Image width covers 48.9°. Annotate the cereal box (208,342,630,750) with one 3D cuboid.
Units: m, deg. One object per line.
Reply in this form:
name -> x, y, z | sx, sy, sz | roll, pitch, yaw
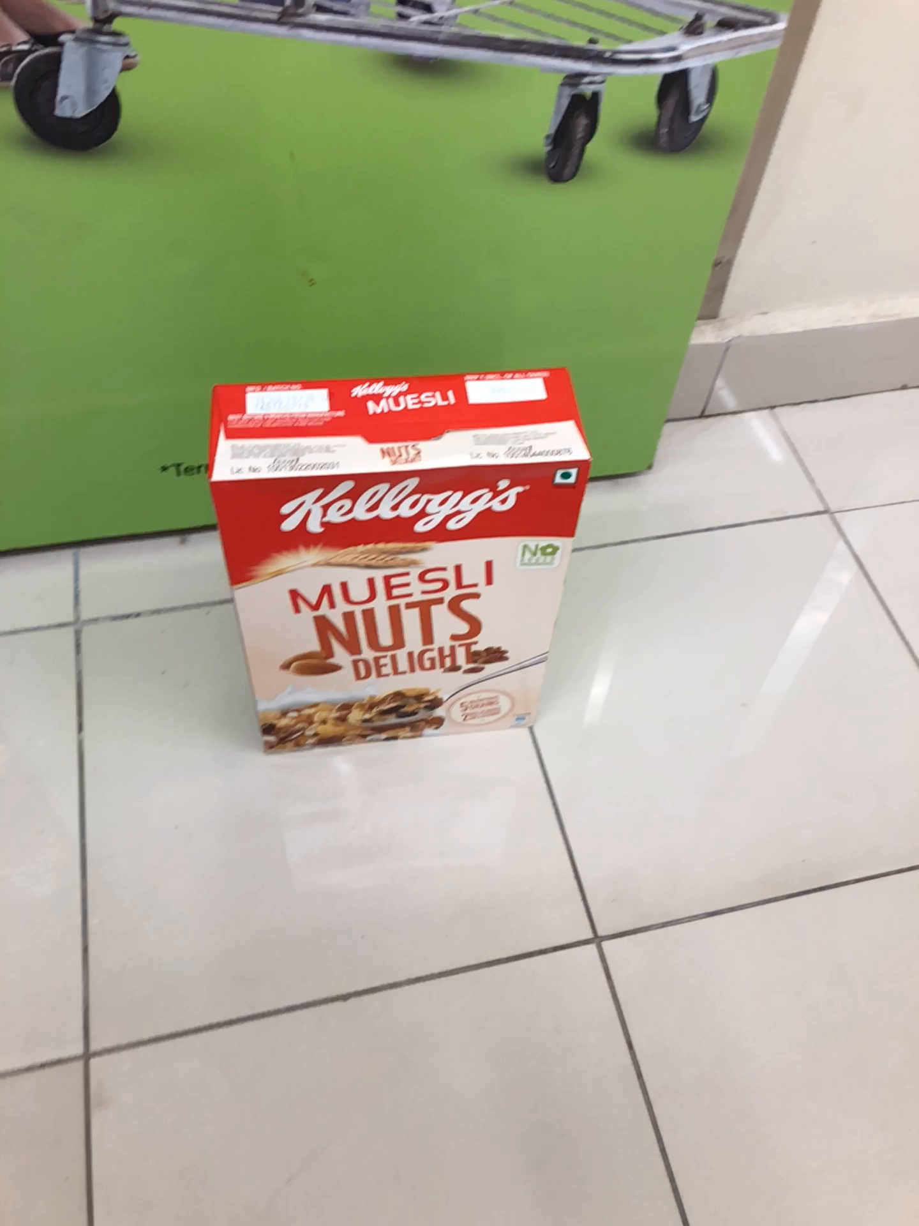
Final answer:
cereal box -> -0.032, -0.026, 0.607 | 0.200, 0.269, 0.080 | -3, 54, -8
